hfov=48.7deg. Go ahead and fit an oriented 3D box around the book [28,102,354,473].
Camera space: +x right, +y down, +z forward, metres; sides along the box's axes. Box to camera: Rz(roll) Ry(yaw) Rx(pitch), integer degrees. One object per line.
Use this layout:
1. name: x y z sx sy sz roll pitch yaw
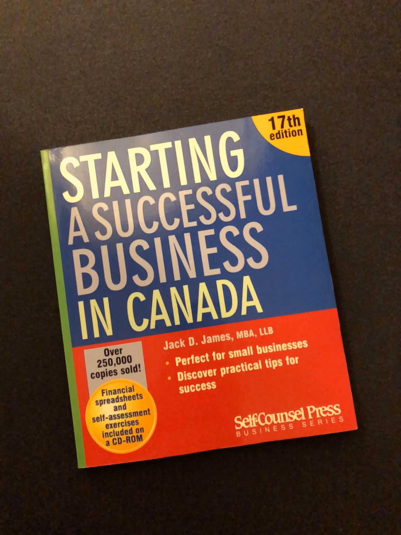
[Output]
1. book: -0.012 0.013 0.347 0.210 0.040 0.247 -8 84 2
